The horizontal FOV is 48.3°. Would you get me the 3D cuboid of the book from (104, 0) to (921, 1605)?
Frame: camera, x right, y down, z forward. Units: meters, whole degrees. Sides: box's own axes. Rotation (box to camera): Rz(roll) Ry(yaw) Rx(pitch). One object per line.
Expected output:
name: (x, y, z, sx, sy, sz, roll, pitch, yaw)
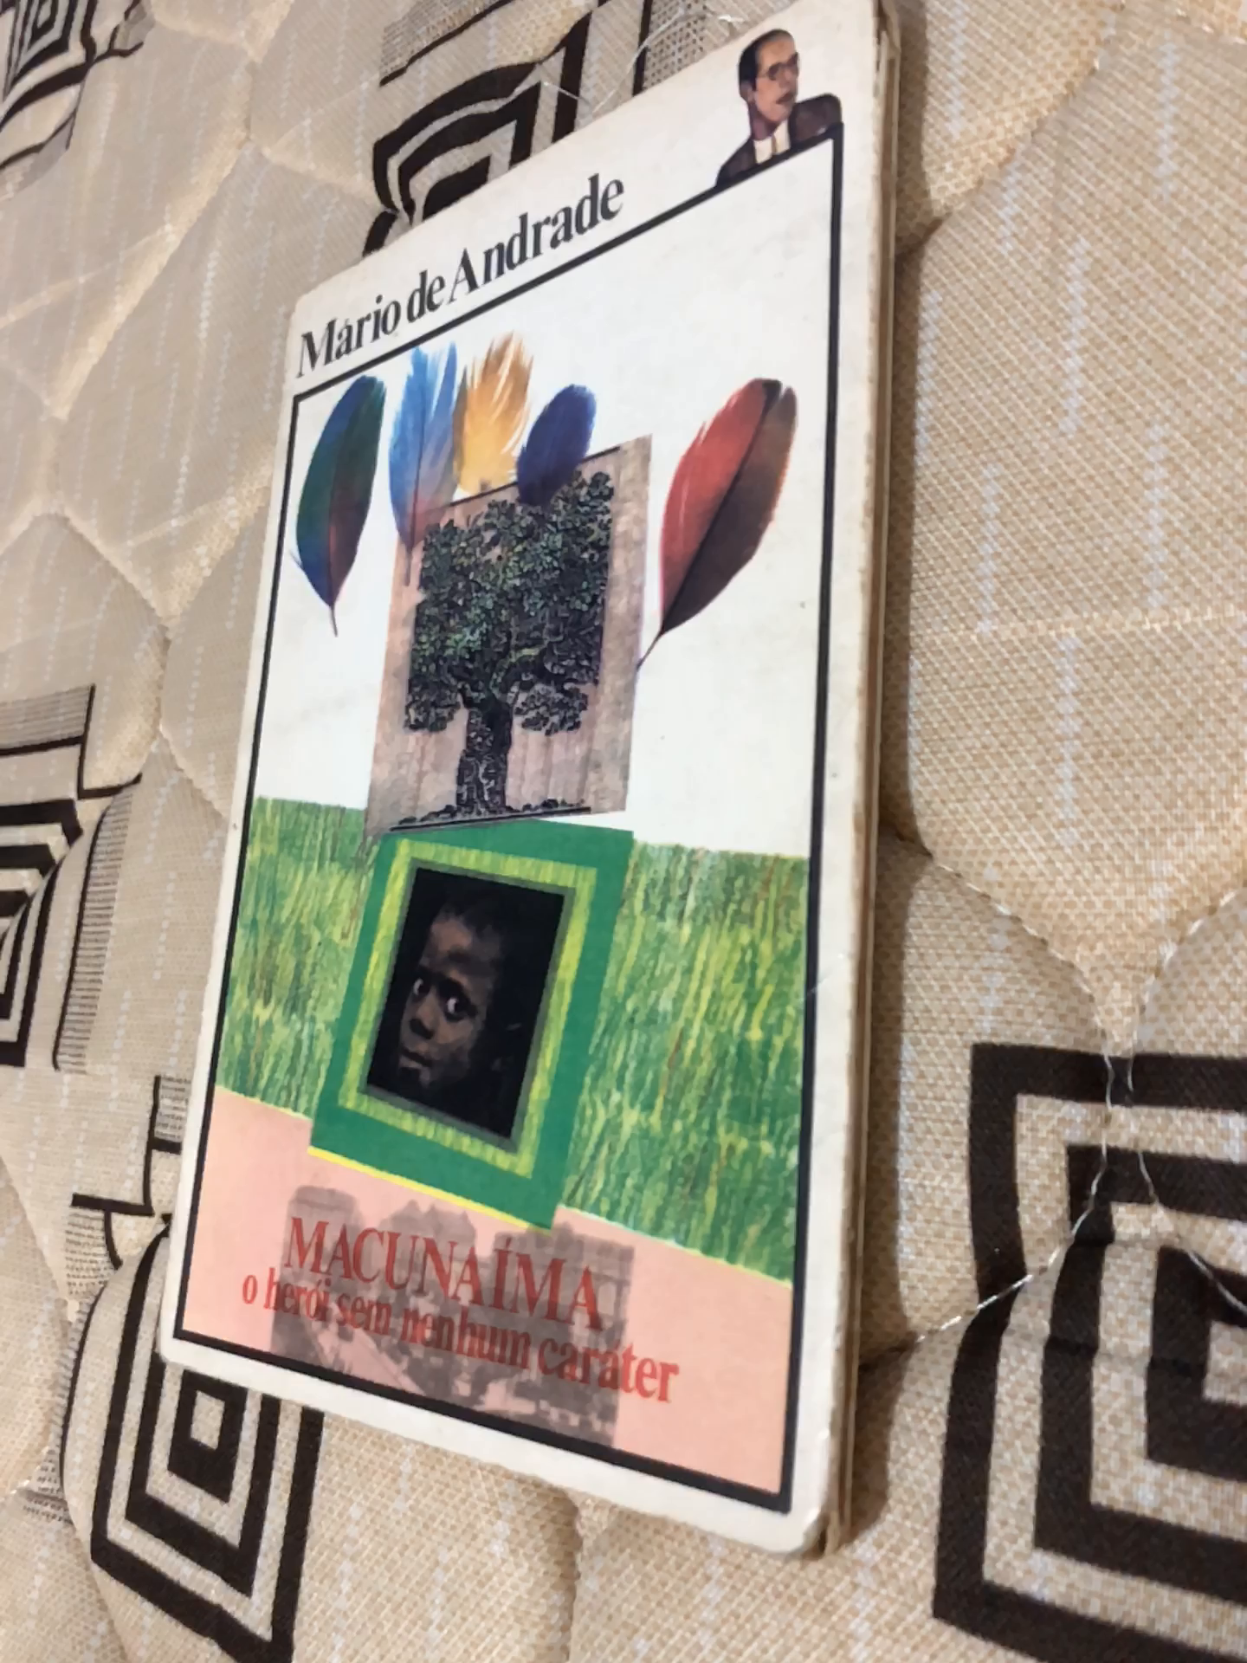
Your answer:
book: (-0.022, -0.008, 0.209, 0.131, 0.020, 0.190, -6, 75, 41)
